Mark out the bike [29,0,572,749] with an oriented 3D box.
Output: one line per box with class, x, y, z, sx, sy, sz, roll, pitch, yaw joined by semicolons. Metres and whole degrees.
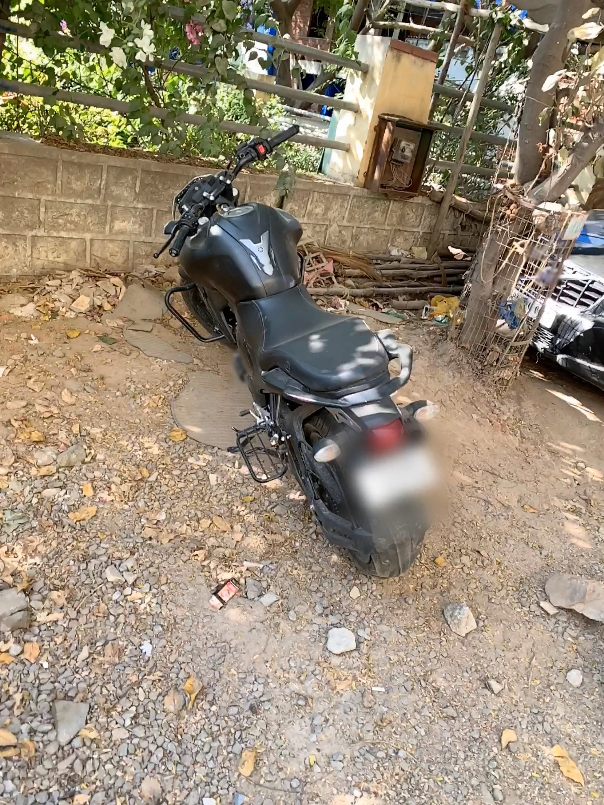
bike;-0.306;-0.285;2.096;0.820;1.499;1.760;-4;34;-33
